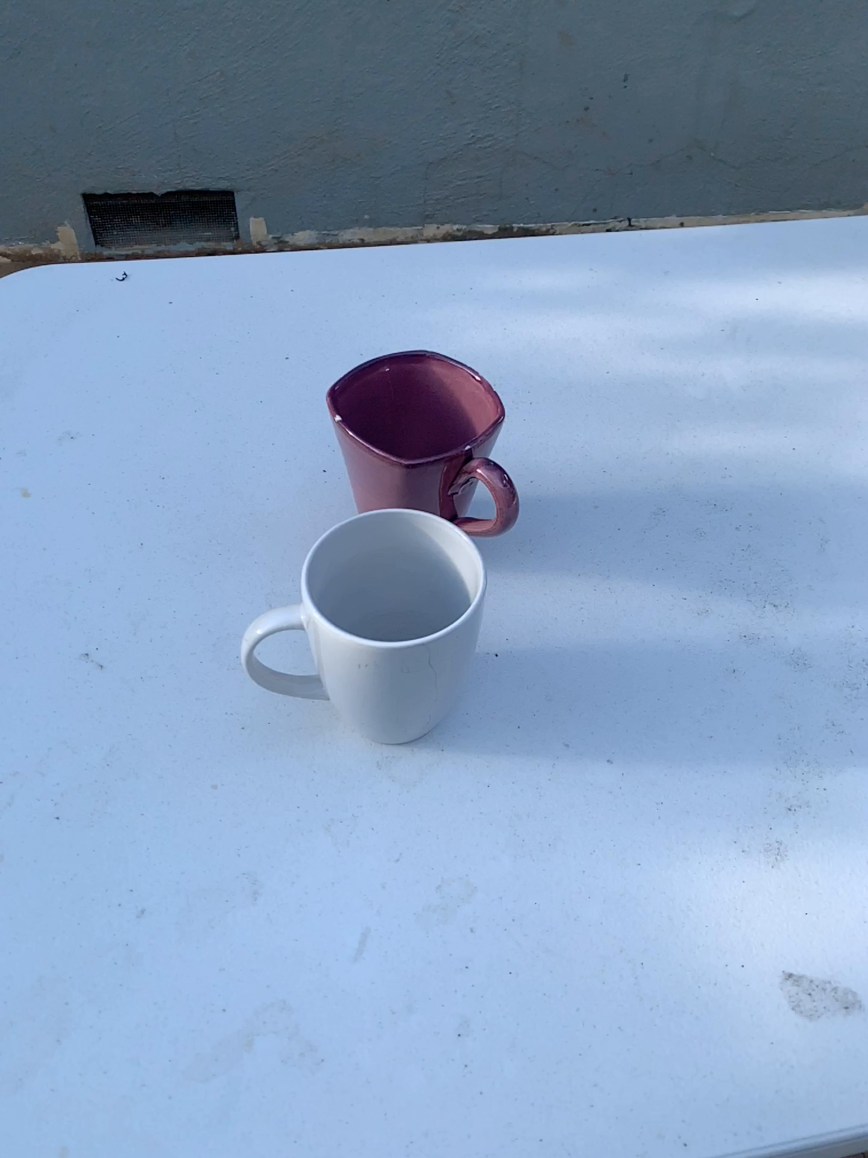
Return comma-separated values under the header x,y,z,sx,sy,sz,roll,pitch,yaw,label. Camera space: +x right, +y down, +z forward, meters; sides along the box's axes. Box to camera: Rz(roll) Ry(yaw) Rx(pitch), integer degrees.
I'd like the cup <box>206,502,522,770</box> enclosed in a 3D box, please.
x,y,z,sx,sy,sz,roll,pitch,yaw,label
-0.040,0.031,0.488,0.150,0.099,0.091,-5,48,-7,cup

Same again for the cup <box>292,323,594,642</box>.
x,y,z,sx,sy,sz,roll,pitch,yaw,label
0.002,-0.064,0.560,0.110,0.109,0.140,-35,58,-29,cup
